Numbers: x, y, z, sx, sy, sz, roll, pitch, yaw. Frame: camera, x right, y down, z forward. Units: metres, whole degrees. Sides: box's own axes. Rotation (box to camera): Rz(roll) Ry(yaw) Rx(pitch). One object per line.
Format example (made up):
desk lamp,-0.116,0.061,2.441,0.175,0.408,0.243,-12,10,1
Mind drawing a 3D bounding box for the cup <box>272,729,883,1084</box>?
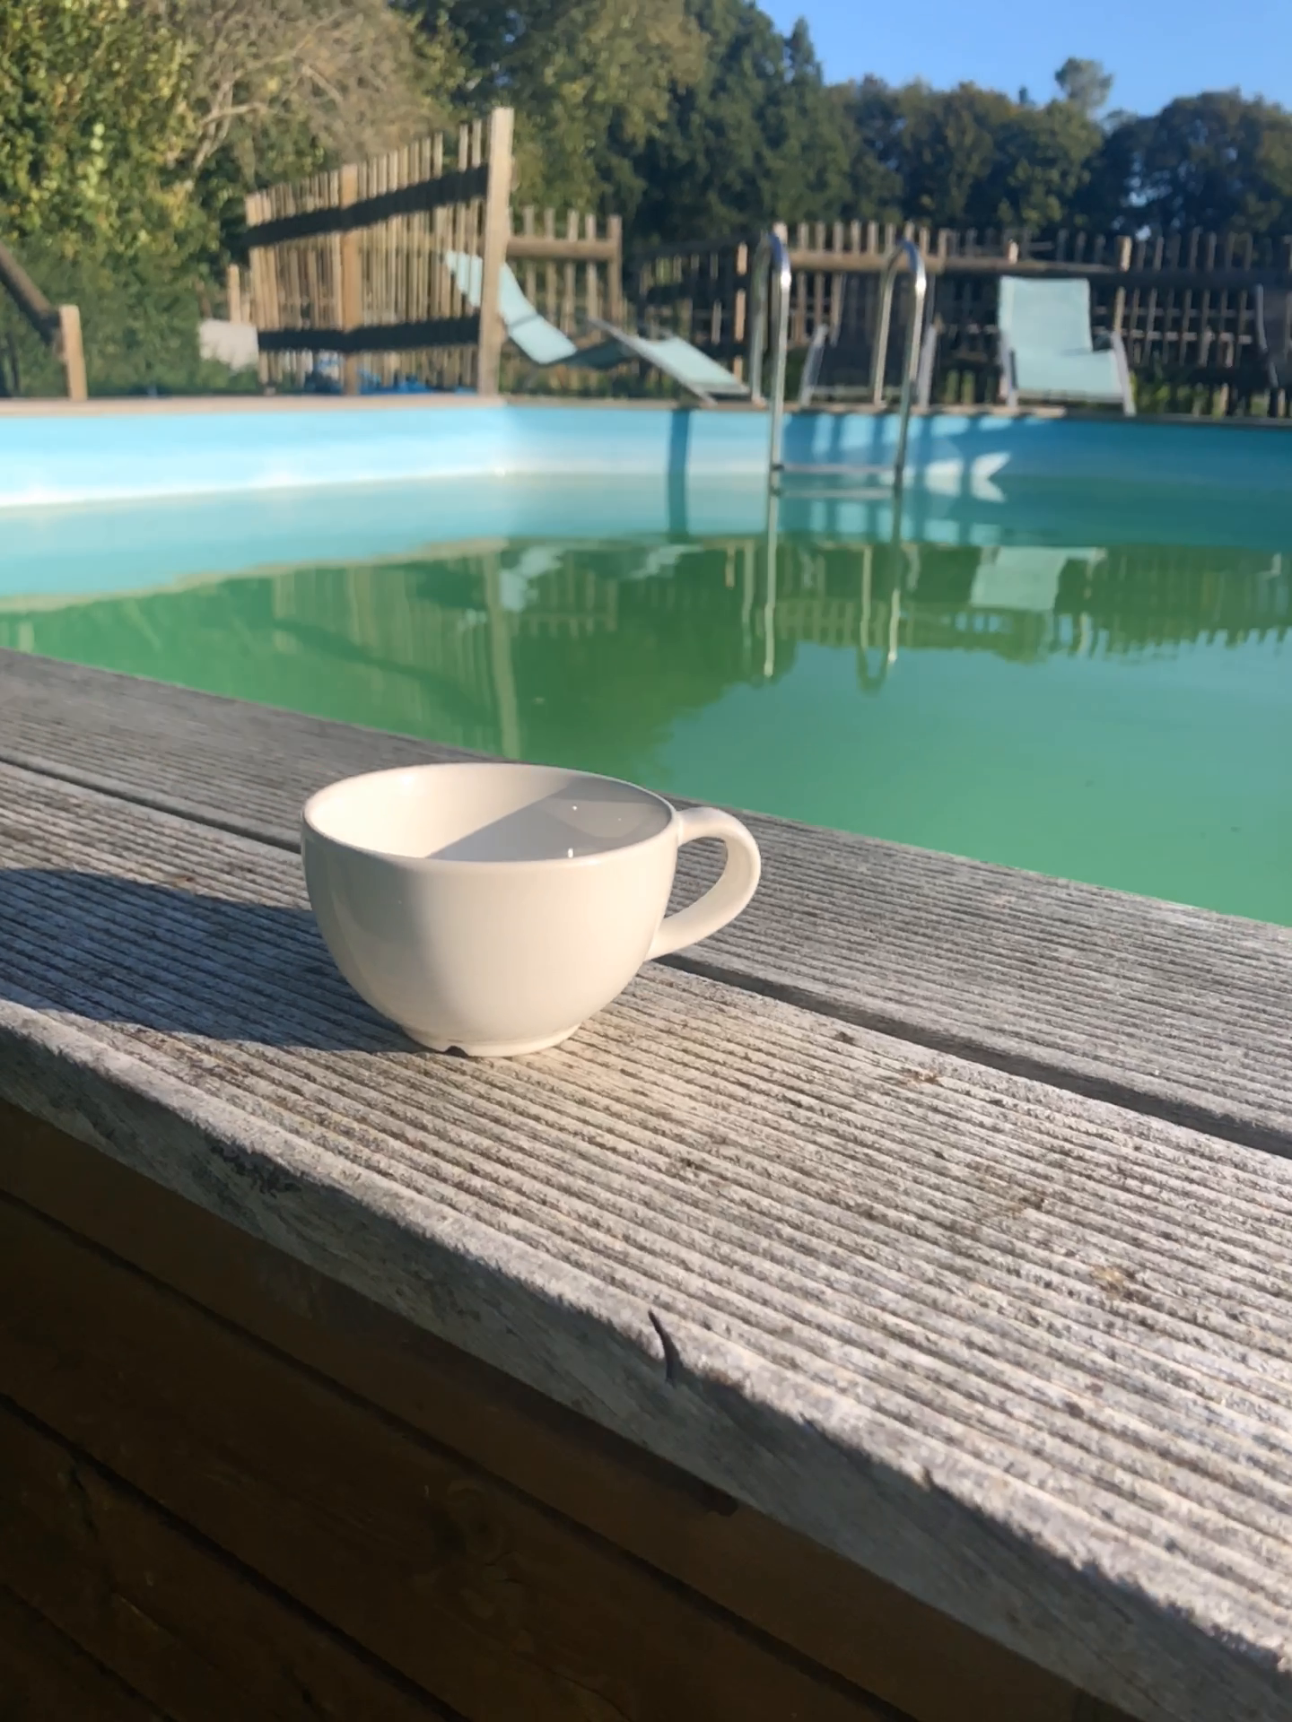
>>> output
cup,-0.022,0.004,0.347,0.121,0.038,0.105,-7,21,-19
